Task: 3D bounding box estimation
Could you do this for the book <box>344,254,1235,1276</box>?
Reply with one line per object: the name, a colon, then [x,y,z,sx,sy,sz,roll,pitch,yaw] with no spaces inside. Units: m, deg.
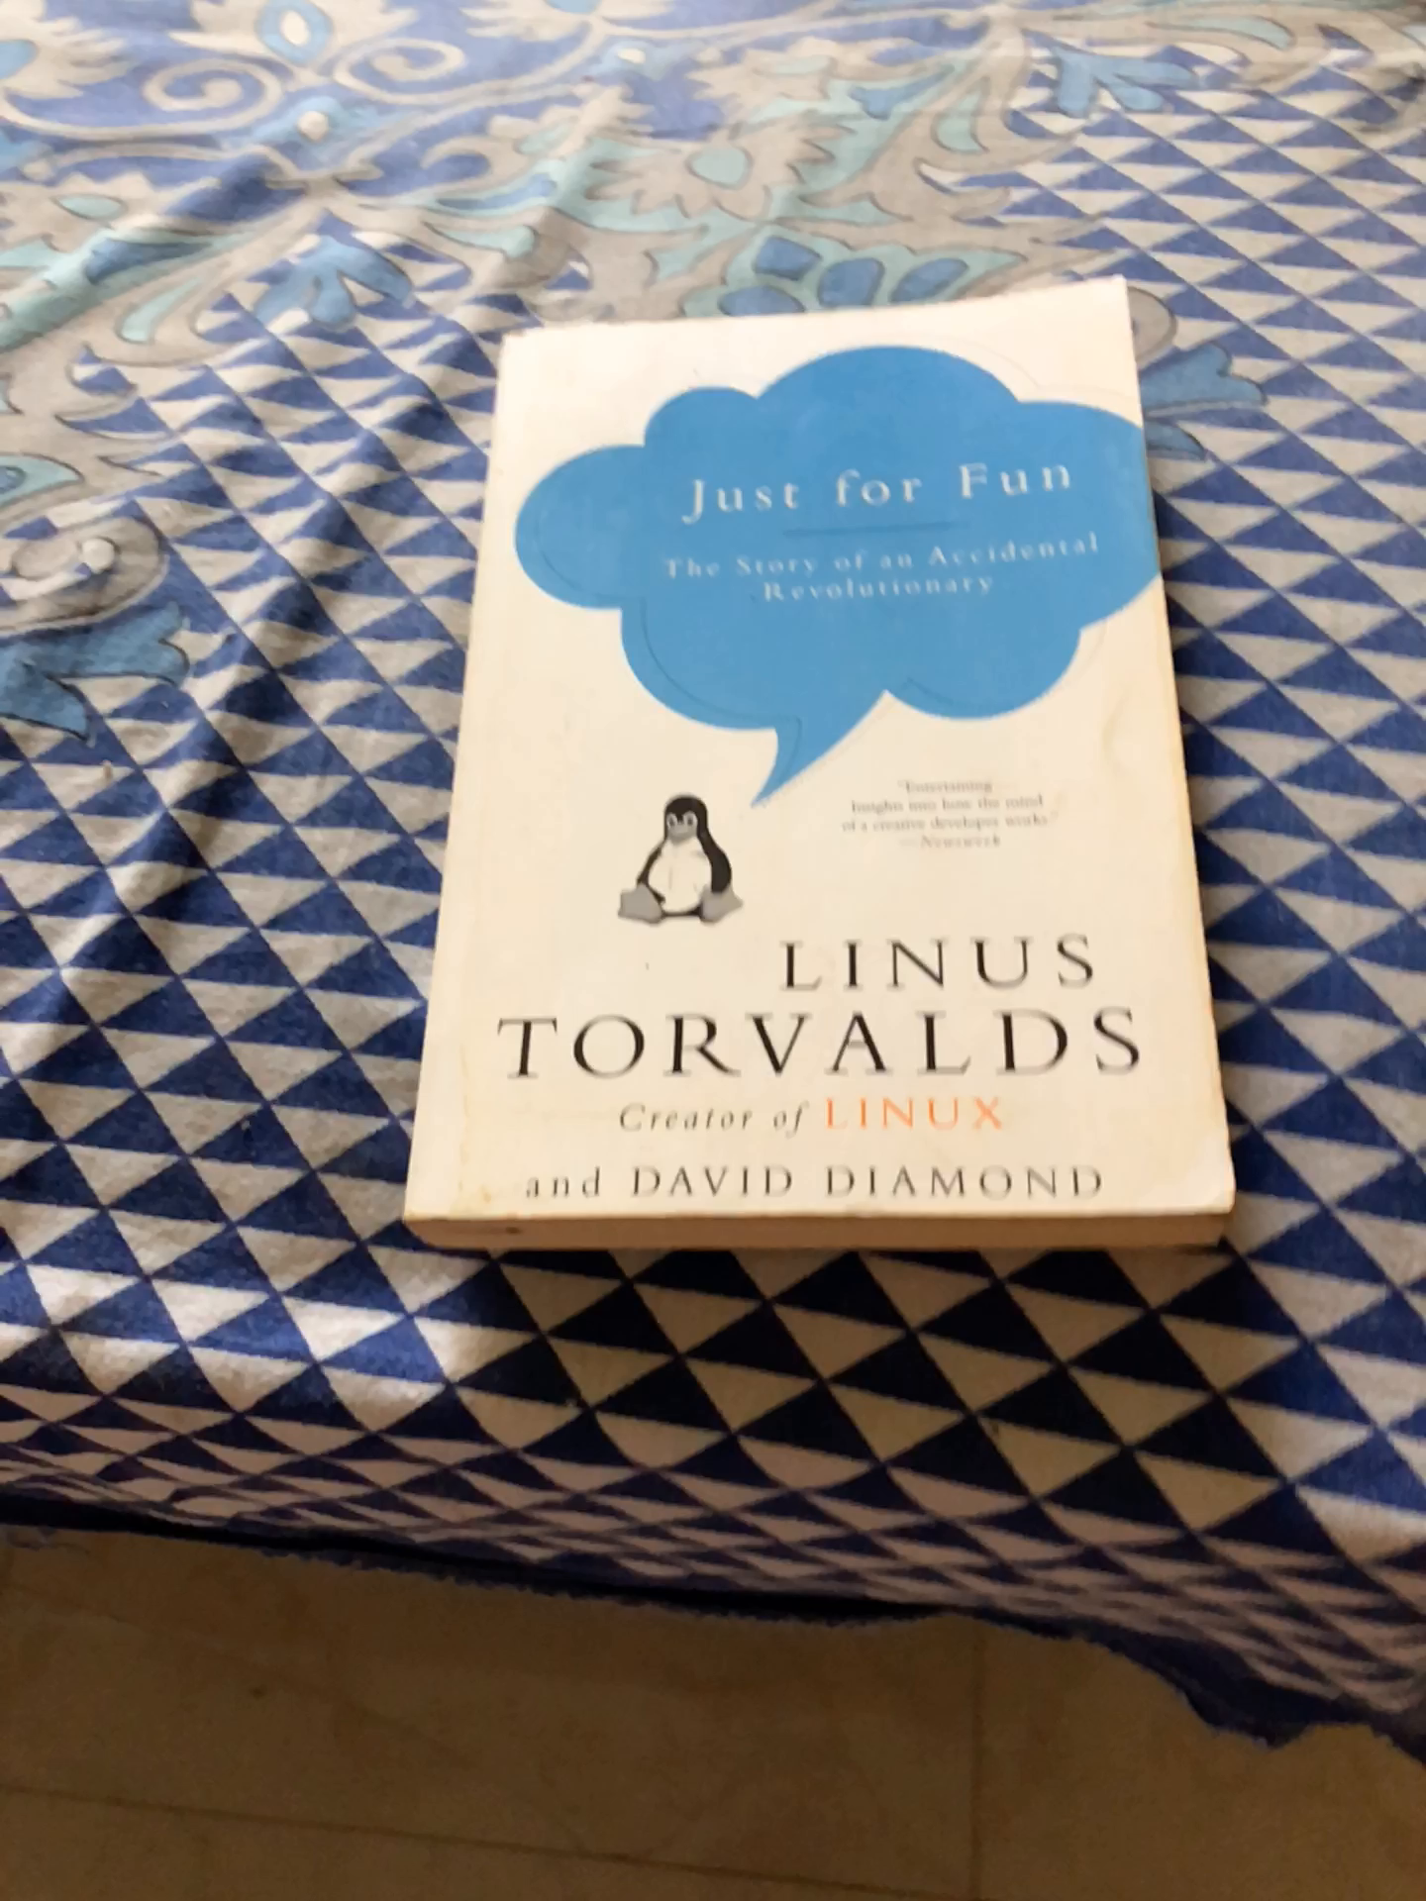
book: [0.014,-0.045,0.310,0.140,0.030,0.210,-2,63,6]
